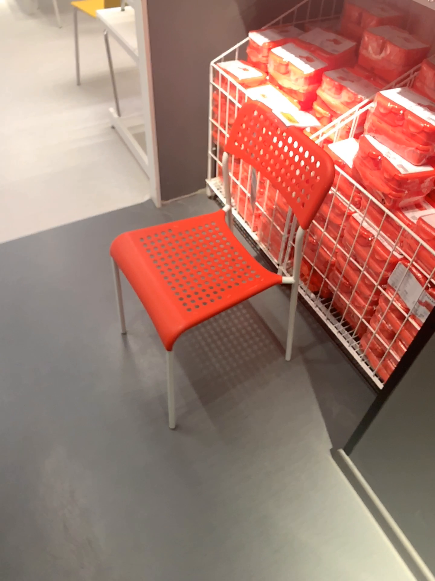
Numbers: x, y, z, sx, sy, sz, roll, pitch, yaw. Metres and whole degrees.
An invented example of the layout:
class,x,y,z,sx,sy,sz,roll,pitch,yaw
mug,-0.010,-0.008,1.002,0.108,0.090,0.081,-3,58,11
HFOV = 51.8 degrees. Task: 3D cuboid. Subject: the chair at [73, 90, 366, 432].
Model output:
class,x,y,z,sx,sy,sz,roll,pitch,yaw
chair,-0.021,-0.053,1.175,0.460,0.688,0.411,-21,53,-20
